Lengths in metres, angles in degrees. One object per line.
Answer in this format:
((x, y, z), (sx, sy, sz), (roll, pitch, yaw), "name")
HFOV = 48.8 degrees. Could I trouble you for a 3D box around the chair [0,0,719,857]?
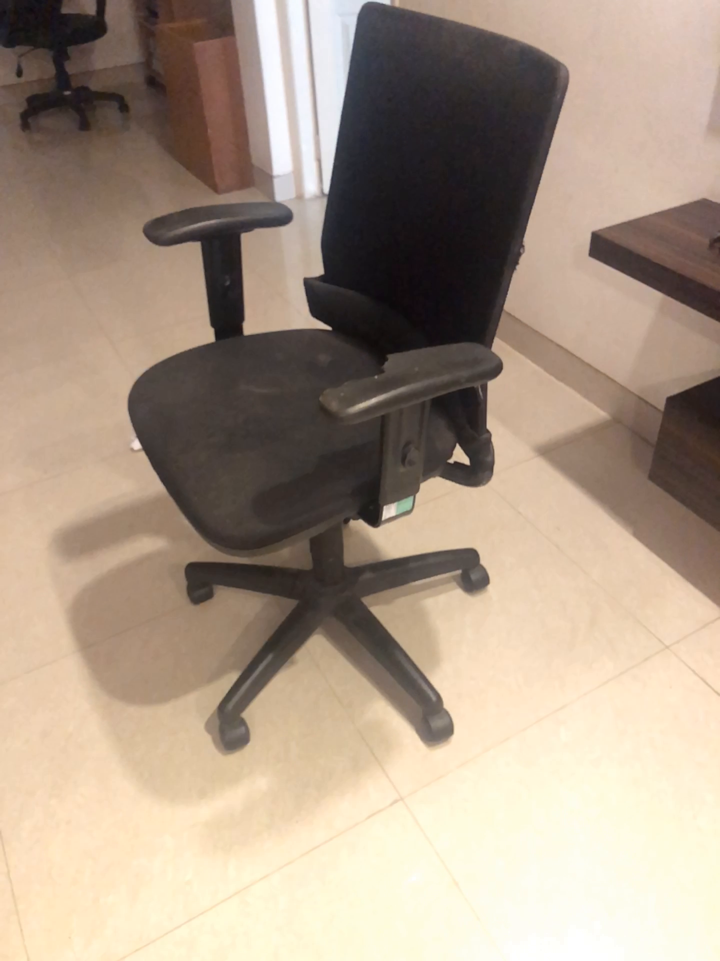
((-0.060, -0.121, 1.304), (0.701, 1.042, 0.714), (-23, 43, -22), "chair")
